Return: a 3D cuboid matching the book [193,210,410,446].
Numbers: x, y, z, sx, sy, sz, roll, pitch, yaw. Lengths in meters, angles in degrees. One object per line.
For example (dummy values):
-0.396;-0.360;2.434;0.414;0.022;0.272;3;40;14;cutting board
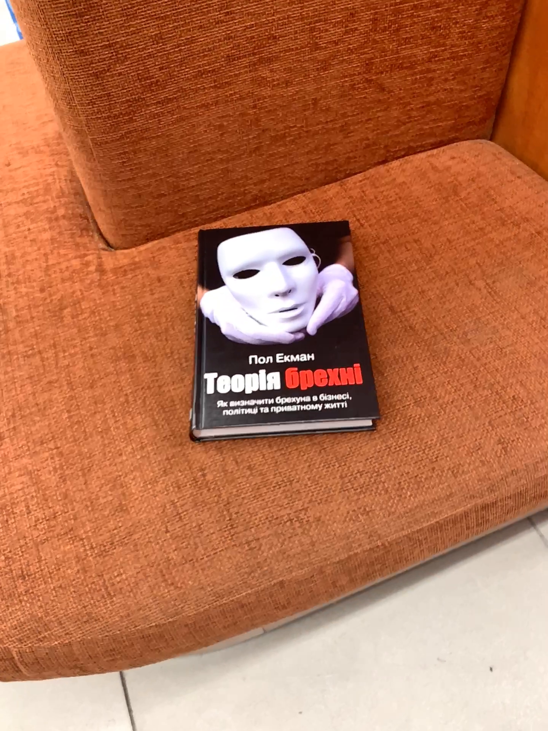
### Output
0.015;-0.040;0.464;0.150;0.030;0.209;-5;54;2;book
